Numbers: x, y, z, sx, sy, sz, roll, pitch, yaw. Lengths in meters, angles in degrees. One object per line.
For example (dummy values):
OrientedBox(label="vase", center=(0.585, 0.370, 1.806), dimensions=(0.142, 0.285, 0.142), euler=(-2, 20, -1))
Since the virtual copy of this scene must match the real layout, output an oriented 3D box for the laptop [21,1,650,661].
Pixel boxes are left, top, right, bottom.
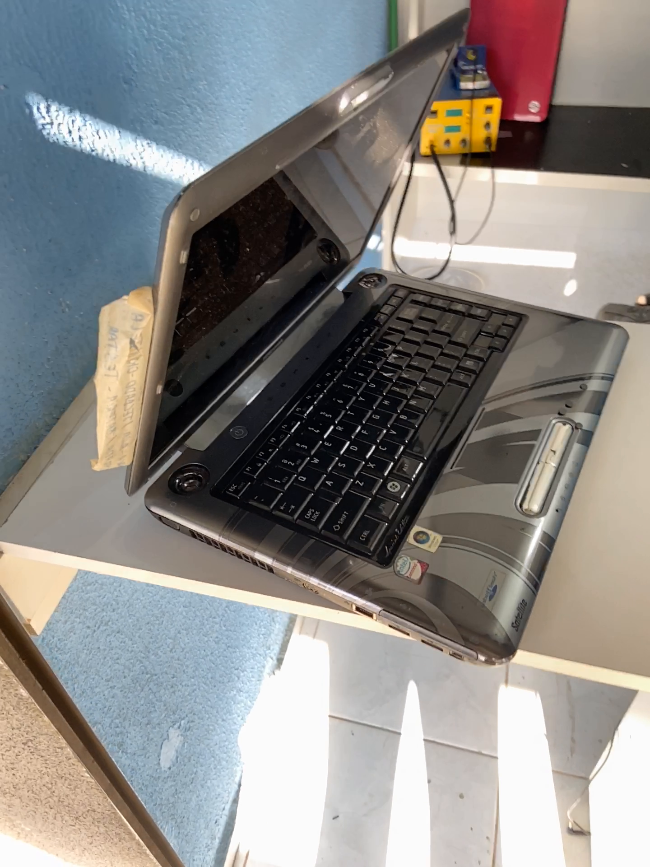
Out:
OrientedBox(label="laptop", center=(0.066, -0.109, 0.453), dimensions=(0.258, 0.235, 0.360), euler=(19, 48, 22))
